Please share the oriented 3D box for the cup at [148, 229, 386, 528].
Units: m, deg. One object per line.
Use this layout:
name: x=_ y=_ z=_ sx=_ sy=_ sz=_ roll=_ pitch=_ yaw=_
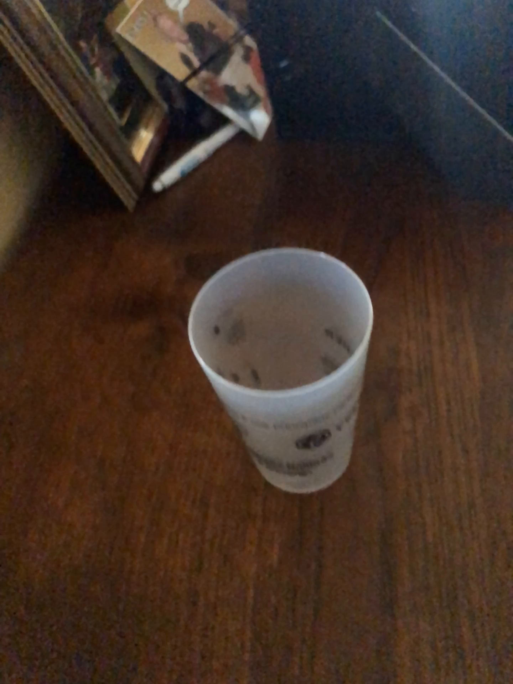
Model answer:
cup: x=0.013 y=0.022 z=0.265 sx=0.070 sy=0.119 sz=0.070 roll=-4 pitch=54 yaw=6
